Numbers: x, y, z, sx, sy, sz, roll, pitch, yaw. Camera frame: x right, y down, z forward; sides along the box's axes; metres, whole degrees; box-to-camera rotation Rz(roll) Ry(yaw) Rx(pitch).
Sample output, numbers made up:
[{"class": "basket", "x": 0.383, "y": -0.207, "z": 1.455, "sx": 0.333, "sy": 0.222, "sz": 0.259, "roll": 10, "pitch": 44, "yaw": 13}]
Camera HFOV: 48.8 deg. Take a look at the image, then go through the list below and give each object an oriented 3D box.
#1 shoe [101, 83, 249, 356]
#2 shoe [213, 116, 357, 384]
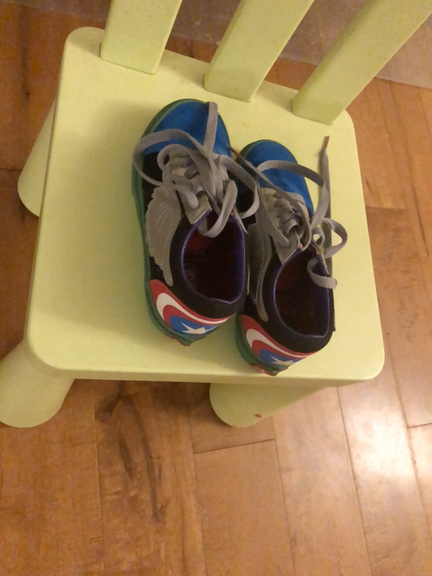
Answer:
[{"class": "shoe", "x": -0.032, "y": -0.050, "z": 0.387, "sx": 0.090, "sy": 0.080, "sz": 0.190, "roll": 9, "pitch": 70, "yaw": -21}, {"class": "shoe", "x": 0.050, "y": -0.026, "z": 0.379, "sx": 0.080, "sy": 0.070, "sz": 0.190, "roll": 9, "pitch": 70, "yaw": -21}]
